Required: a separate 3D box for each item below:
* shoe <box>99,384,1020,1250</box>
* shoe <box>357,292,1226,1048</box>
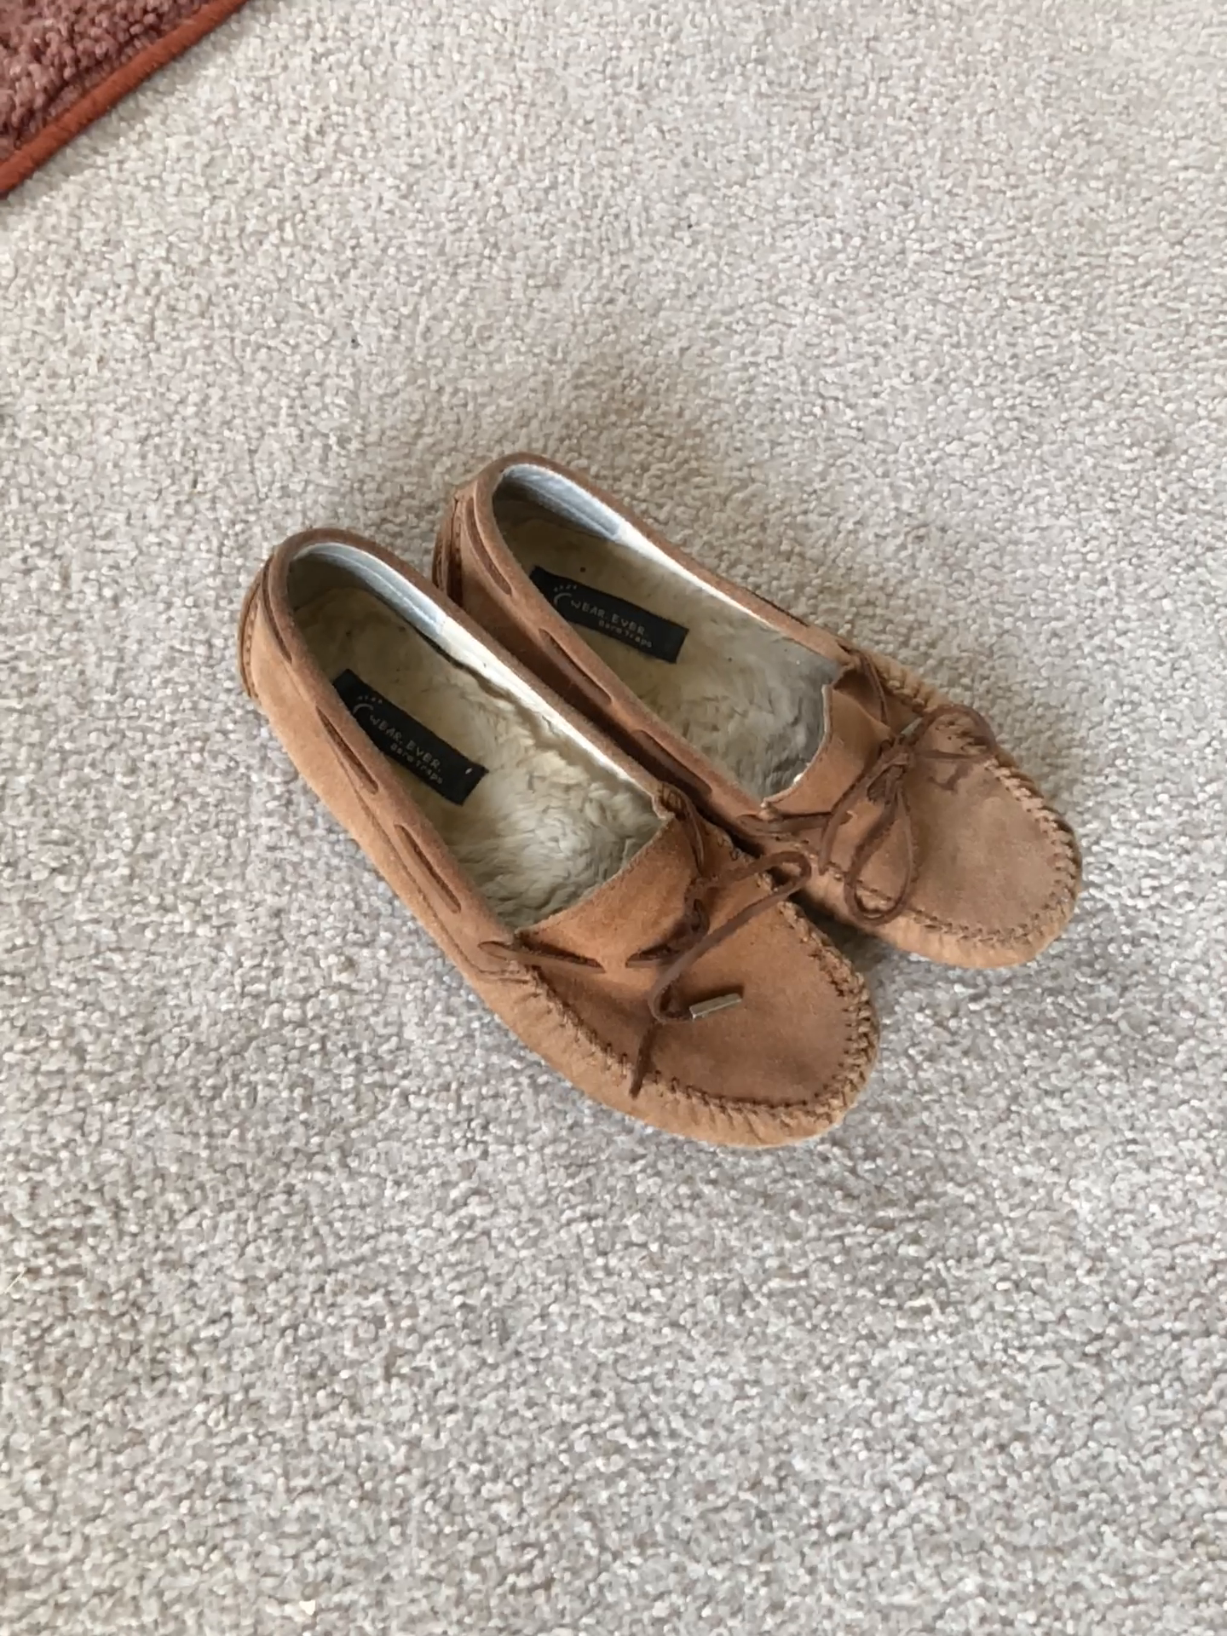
[{"bbox_3d":[-0.020,-0.001,0.425,0.270,0.068,0.105,42,68,6],"label":"shoe"},{"bbox_3d":[0.054,-0.049,0.457,0.274,0.068,0.098,36,67,3],"label":"shoe"}]
